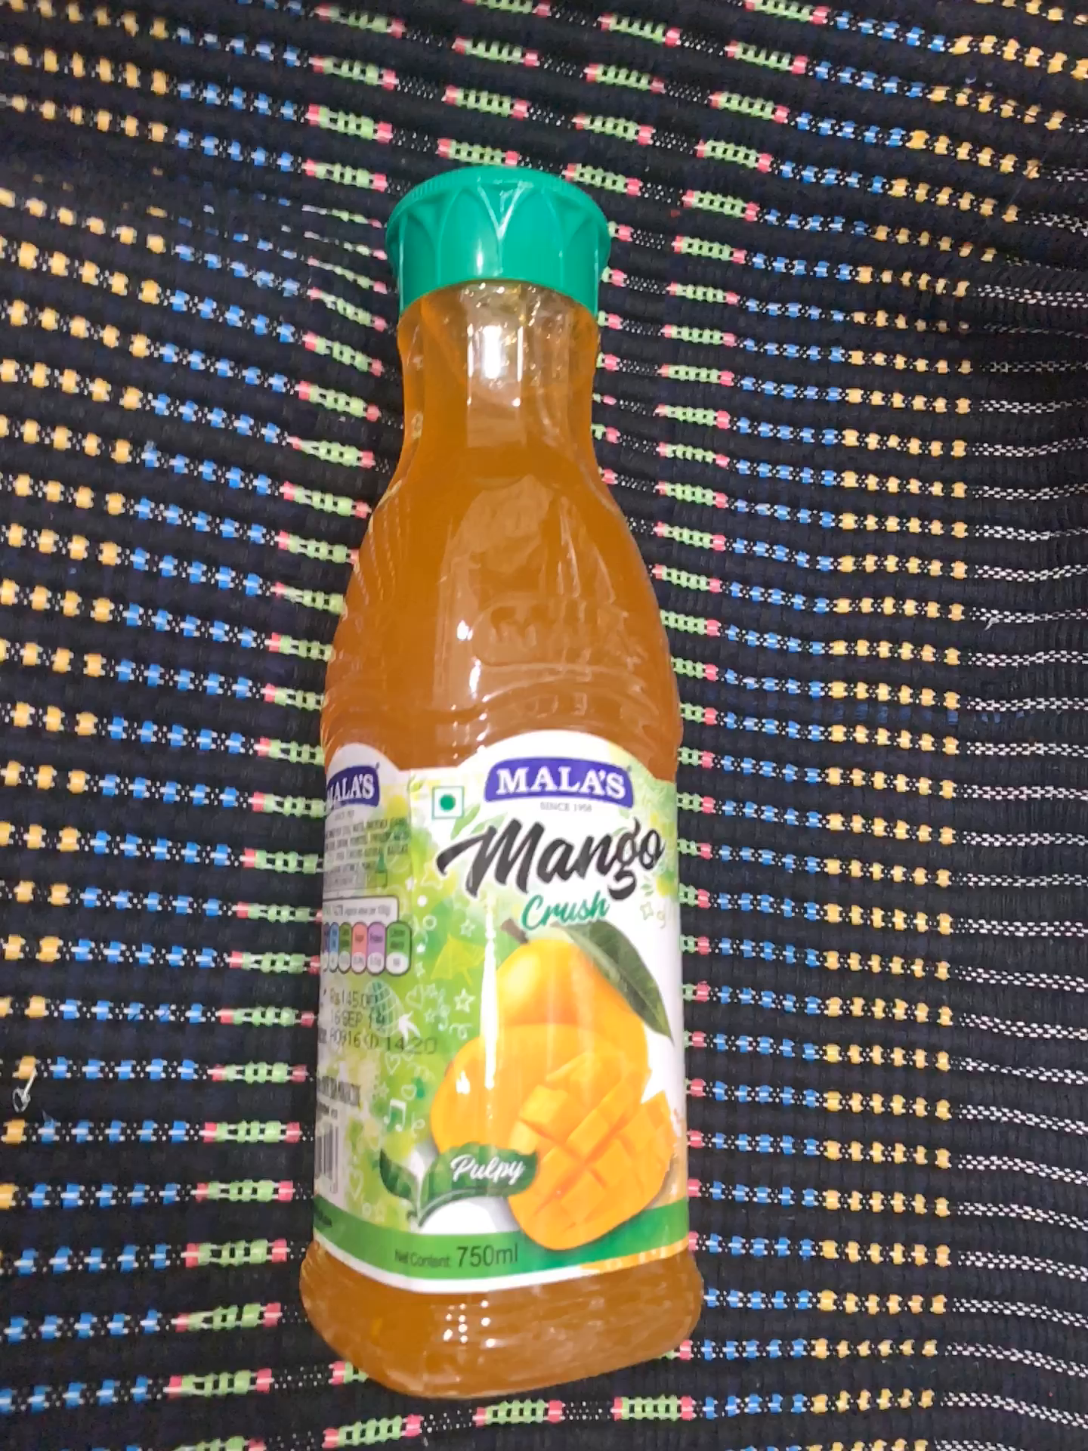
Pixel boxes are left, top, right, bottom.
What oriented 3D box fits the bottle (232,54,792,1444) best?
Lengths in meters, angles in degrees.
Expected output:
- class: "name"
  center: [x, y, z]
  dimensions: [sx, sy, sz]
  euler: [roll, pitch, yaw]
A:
- class: "bottle"
  center: [-0.014, 0.000, 0.248]
  dimensions: [0.080, 0.090, 0.240]
  euler: [5, 76, -26]
